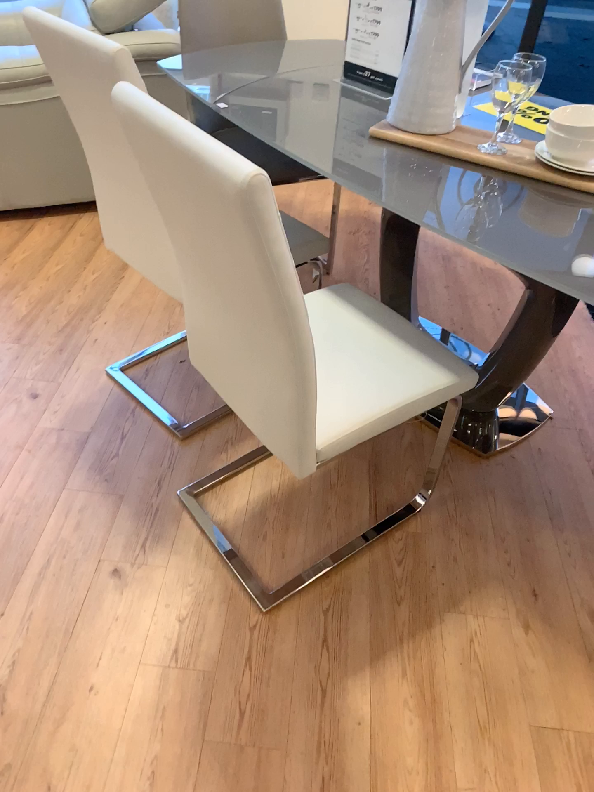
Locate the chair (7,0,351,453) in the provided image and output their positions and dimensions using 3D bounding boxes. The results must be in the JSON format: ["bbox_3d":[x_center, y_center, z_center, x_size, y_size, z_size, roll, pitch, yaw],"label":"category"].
[{"bbox_3d":[-0.258,-0.423,1.519,0.528,0.932,0.434,-31,52,-33],"label":"chair"}]

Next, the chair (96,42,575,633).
[{"bbox_3d":[0.030,-0.087,1.160,0.537,0.922,0.424,-25,50,-30],"label":"chair"}]
